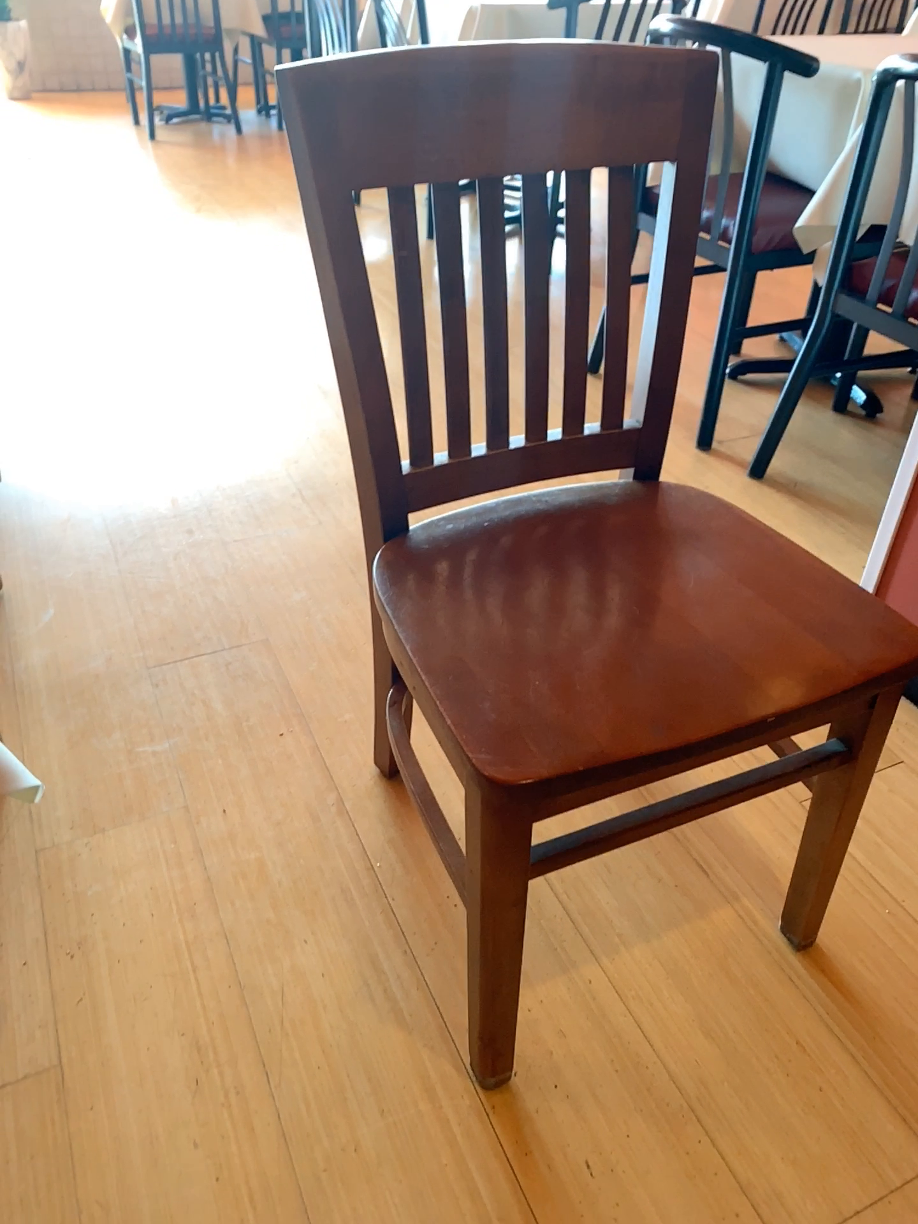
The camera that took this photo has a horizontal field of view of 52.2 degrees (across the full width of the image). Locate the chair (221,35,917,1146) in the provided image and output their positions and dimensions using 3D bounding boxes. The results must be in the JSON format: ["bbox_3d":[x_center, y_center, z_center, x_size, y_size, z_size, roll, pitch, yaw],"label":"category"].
[{"bbox_3d":[0.141,-0.053,0.960,0.540,0.875,0.573,-13,38,-19],"label":"chair"}]
